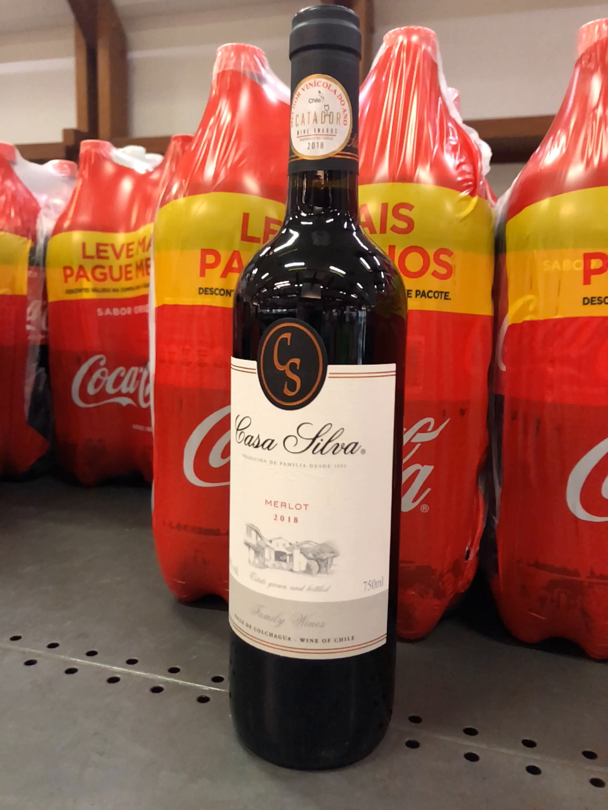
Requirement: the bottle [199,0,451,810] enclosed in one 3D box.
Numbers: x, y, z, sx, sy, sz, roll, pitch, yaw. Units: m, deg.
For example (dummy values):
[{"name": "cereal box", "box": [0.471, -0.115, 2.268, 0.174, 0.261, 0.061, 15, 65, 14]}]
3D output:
[{"name": "bottle", "box": [0.009, -0.003, 0.285, 0.080, 0.309, 0.070, 4, 8, 17]}]
